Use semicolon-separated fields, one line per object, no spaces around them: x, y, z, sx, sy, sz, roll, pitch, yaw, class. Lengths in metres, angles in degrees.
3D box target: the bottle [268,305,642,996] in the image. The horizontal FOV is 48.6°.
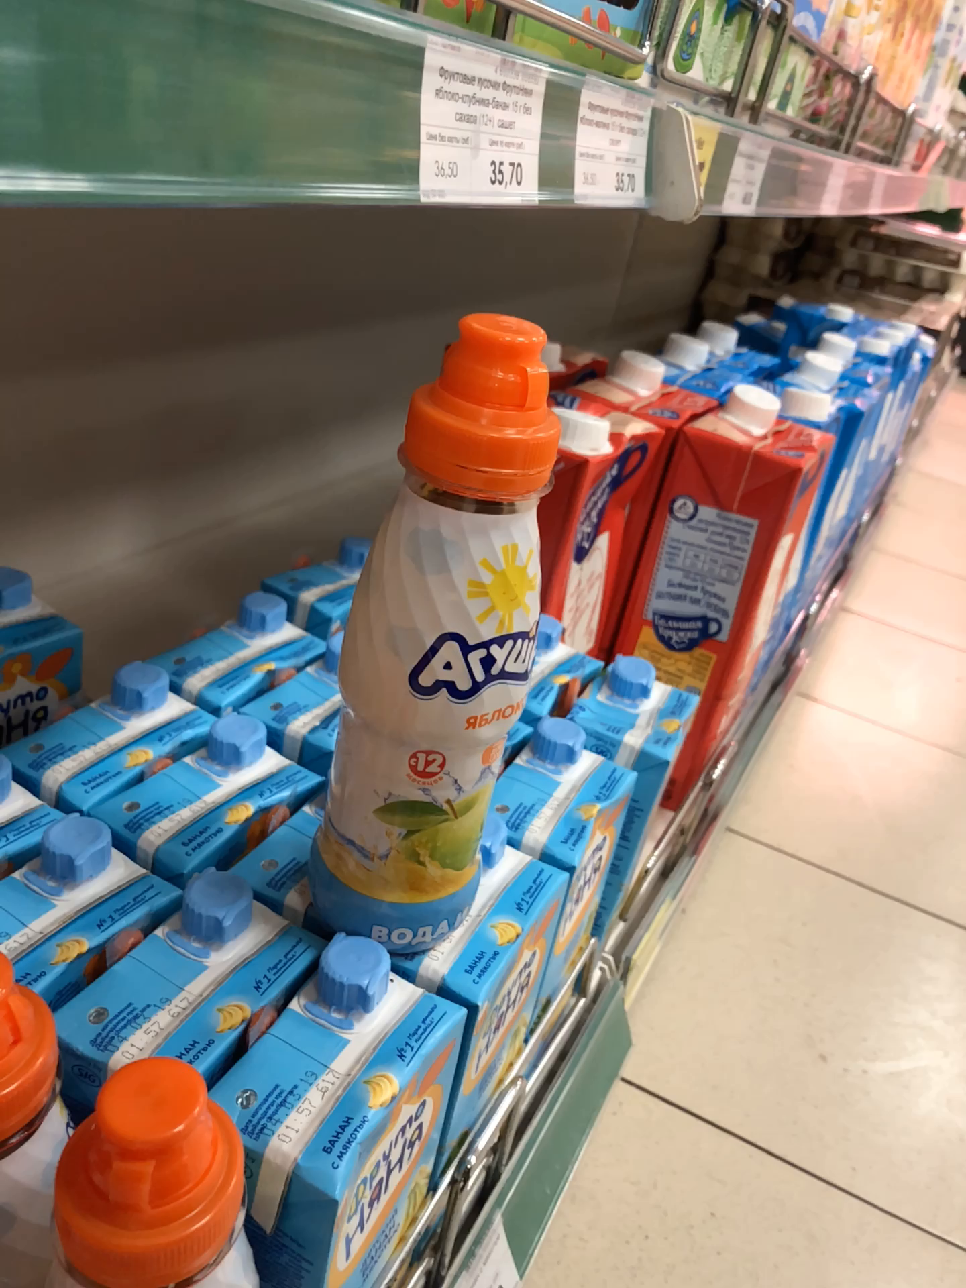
-0.014;0.005;0.318;0.053;0.193;0.056;10;26;-5;bottle
